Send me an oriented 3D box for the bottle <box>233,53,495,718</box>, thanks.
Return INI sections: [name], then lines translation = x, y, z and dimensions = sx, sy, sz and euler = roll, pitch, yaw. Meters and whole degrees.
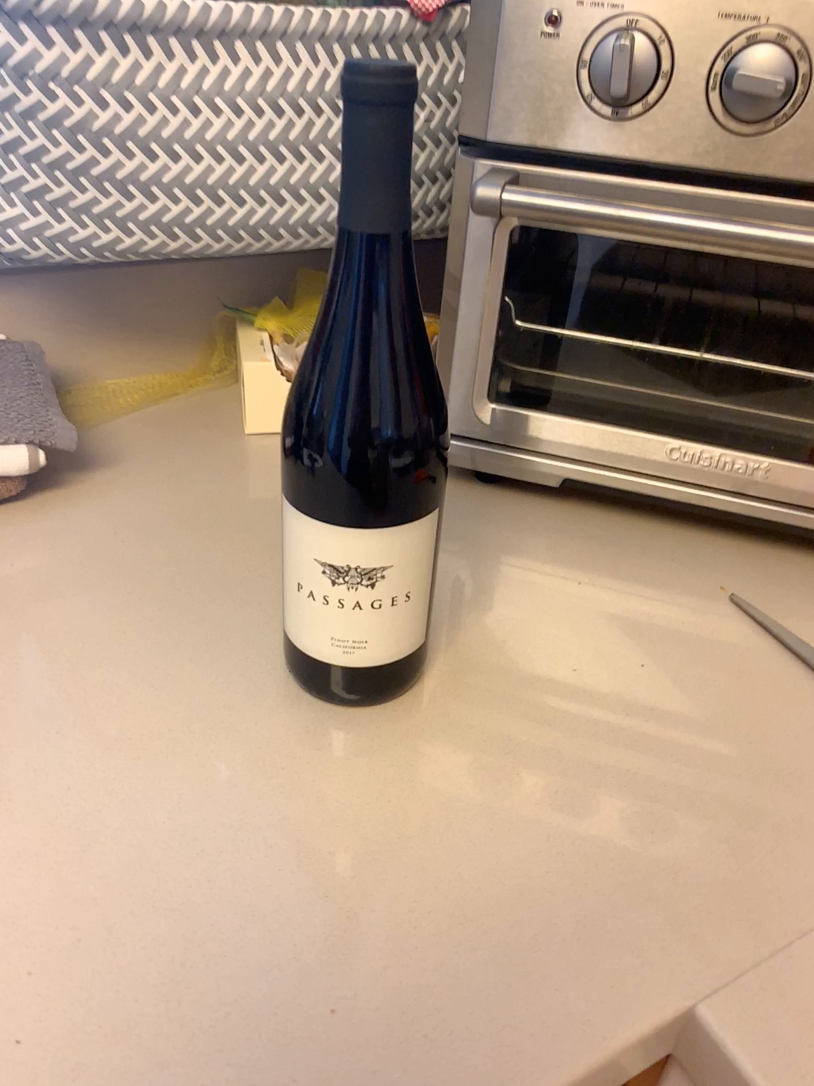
[bottle]
translation = -0.019, -0.057, 0.371
dimensions = 0.080, 0.268, 0.091
euler = 7, 33, 4
